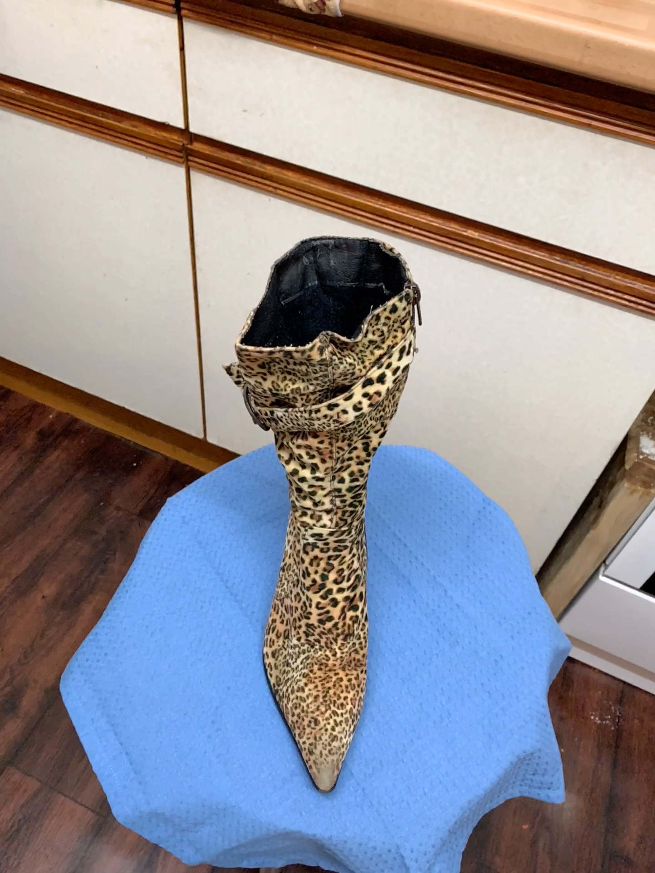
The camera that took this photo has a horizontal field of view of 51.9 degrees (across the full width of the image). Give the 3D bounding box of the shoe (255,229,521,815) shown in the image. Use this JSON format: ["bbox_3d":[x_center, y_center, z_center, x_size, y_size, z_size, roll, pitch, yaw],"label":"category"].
[{"bbox_3d":[0.002,0.079,0.483,0.100,0.347,0.262,1,48,-7],"label":"shoe"}]
